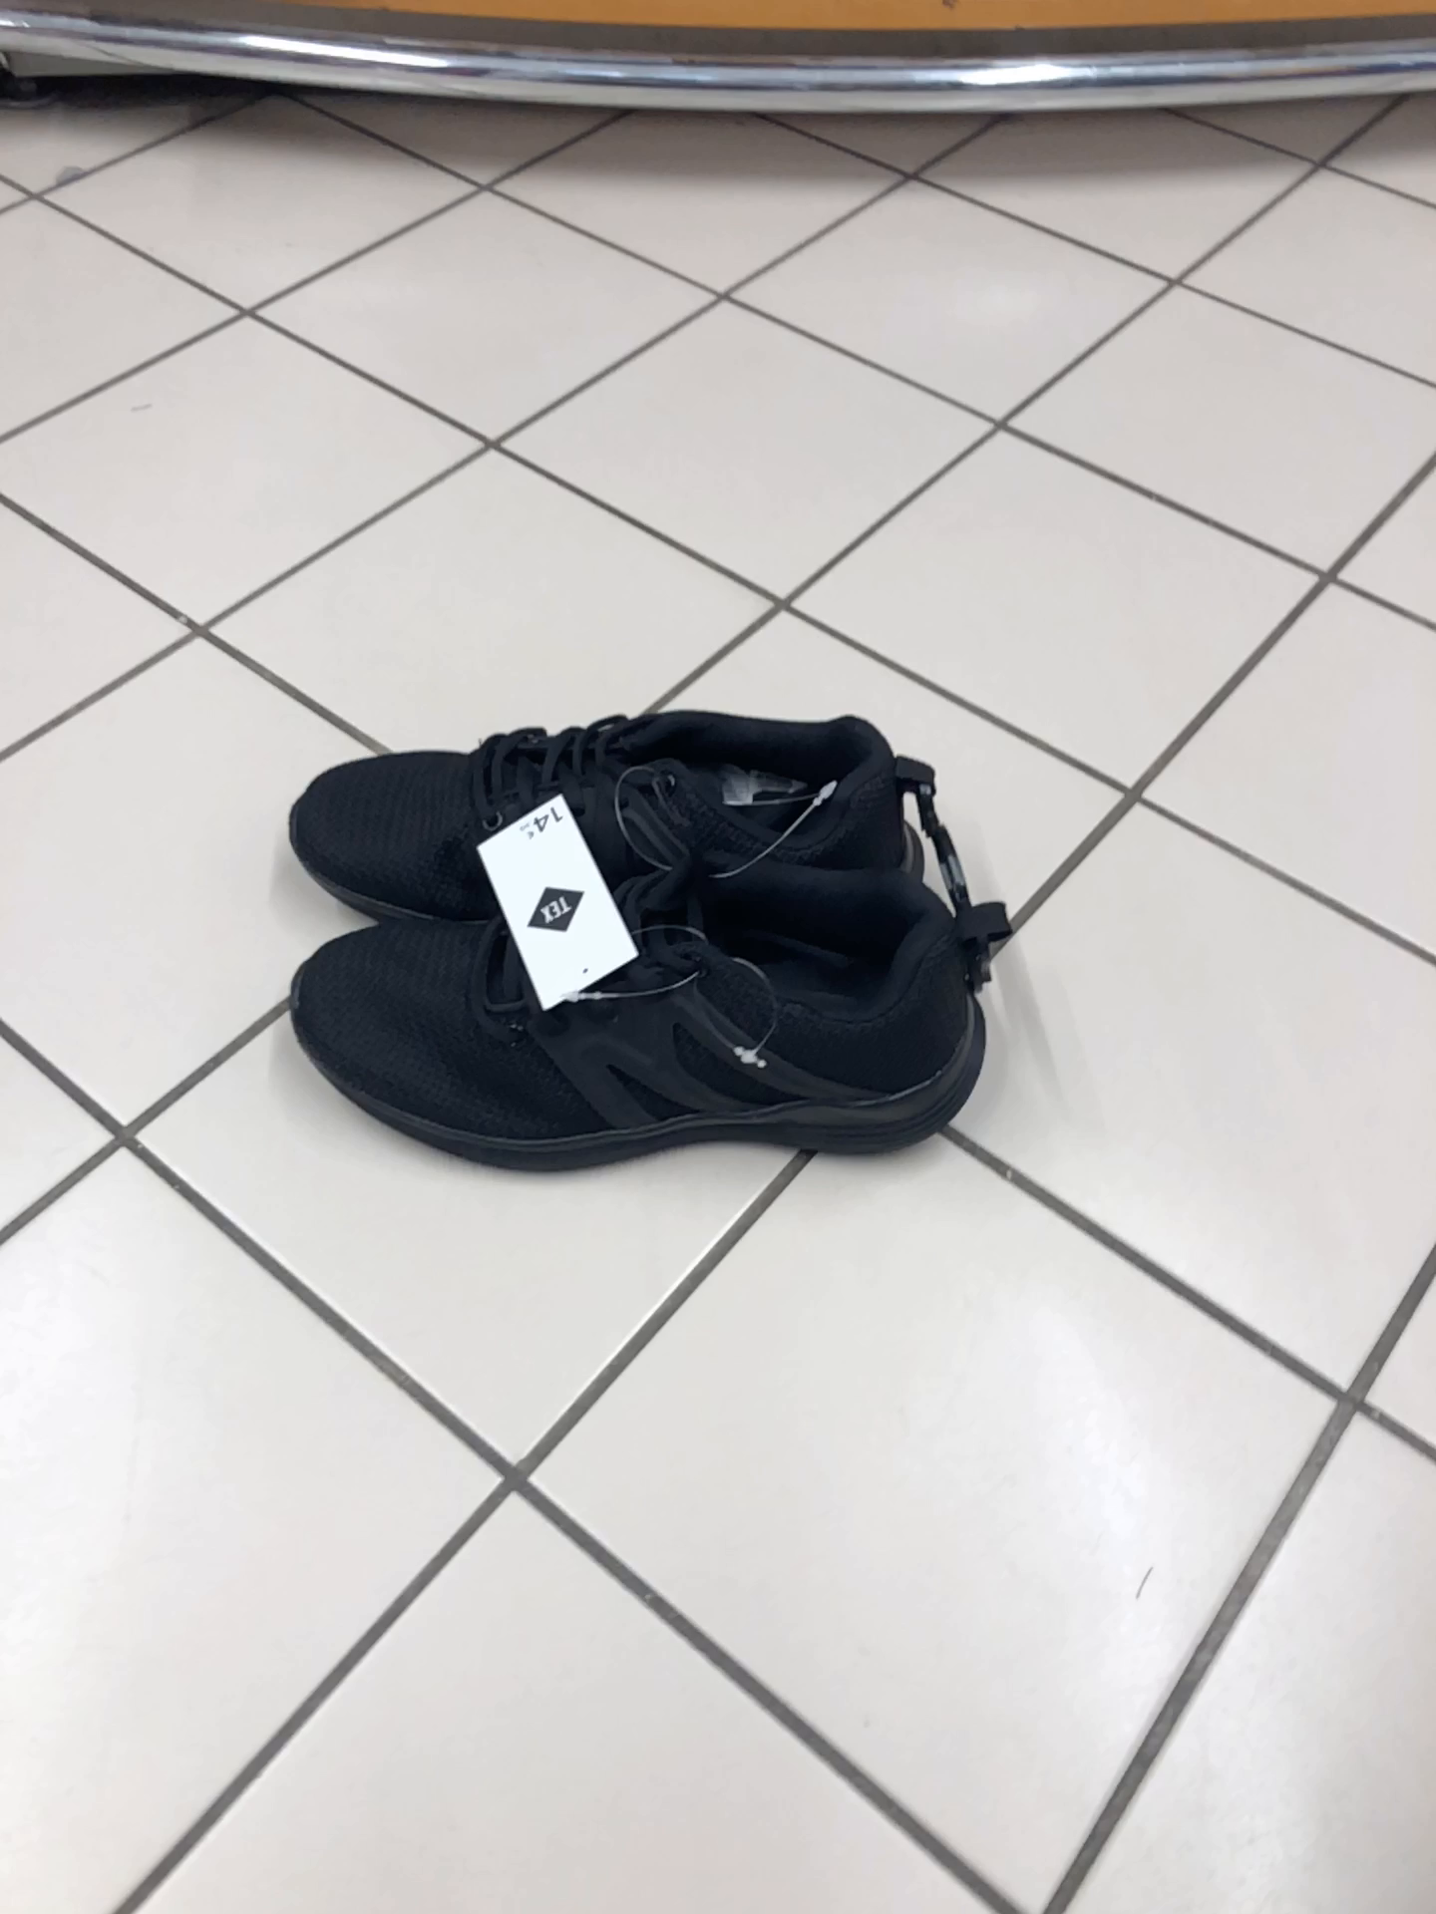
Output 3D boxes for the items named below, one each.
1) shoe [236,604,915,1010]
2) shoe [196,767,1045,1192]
[{"bbox_3d":[-0.050,-0.061,0.653,0.250,0.109,0.101,5,52,2],"label":"shoe"},{"bbox_3d":[-0.031,0.011,0.581,0.270,0.119,0.100,1,52,-1],"label":"shoe"}]
